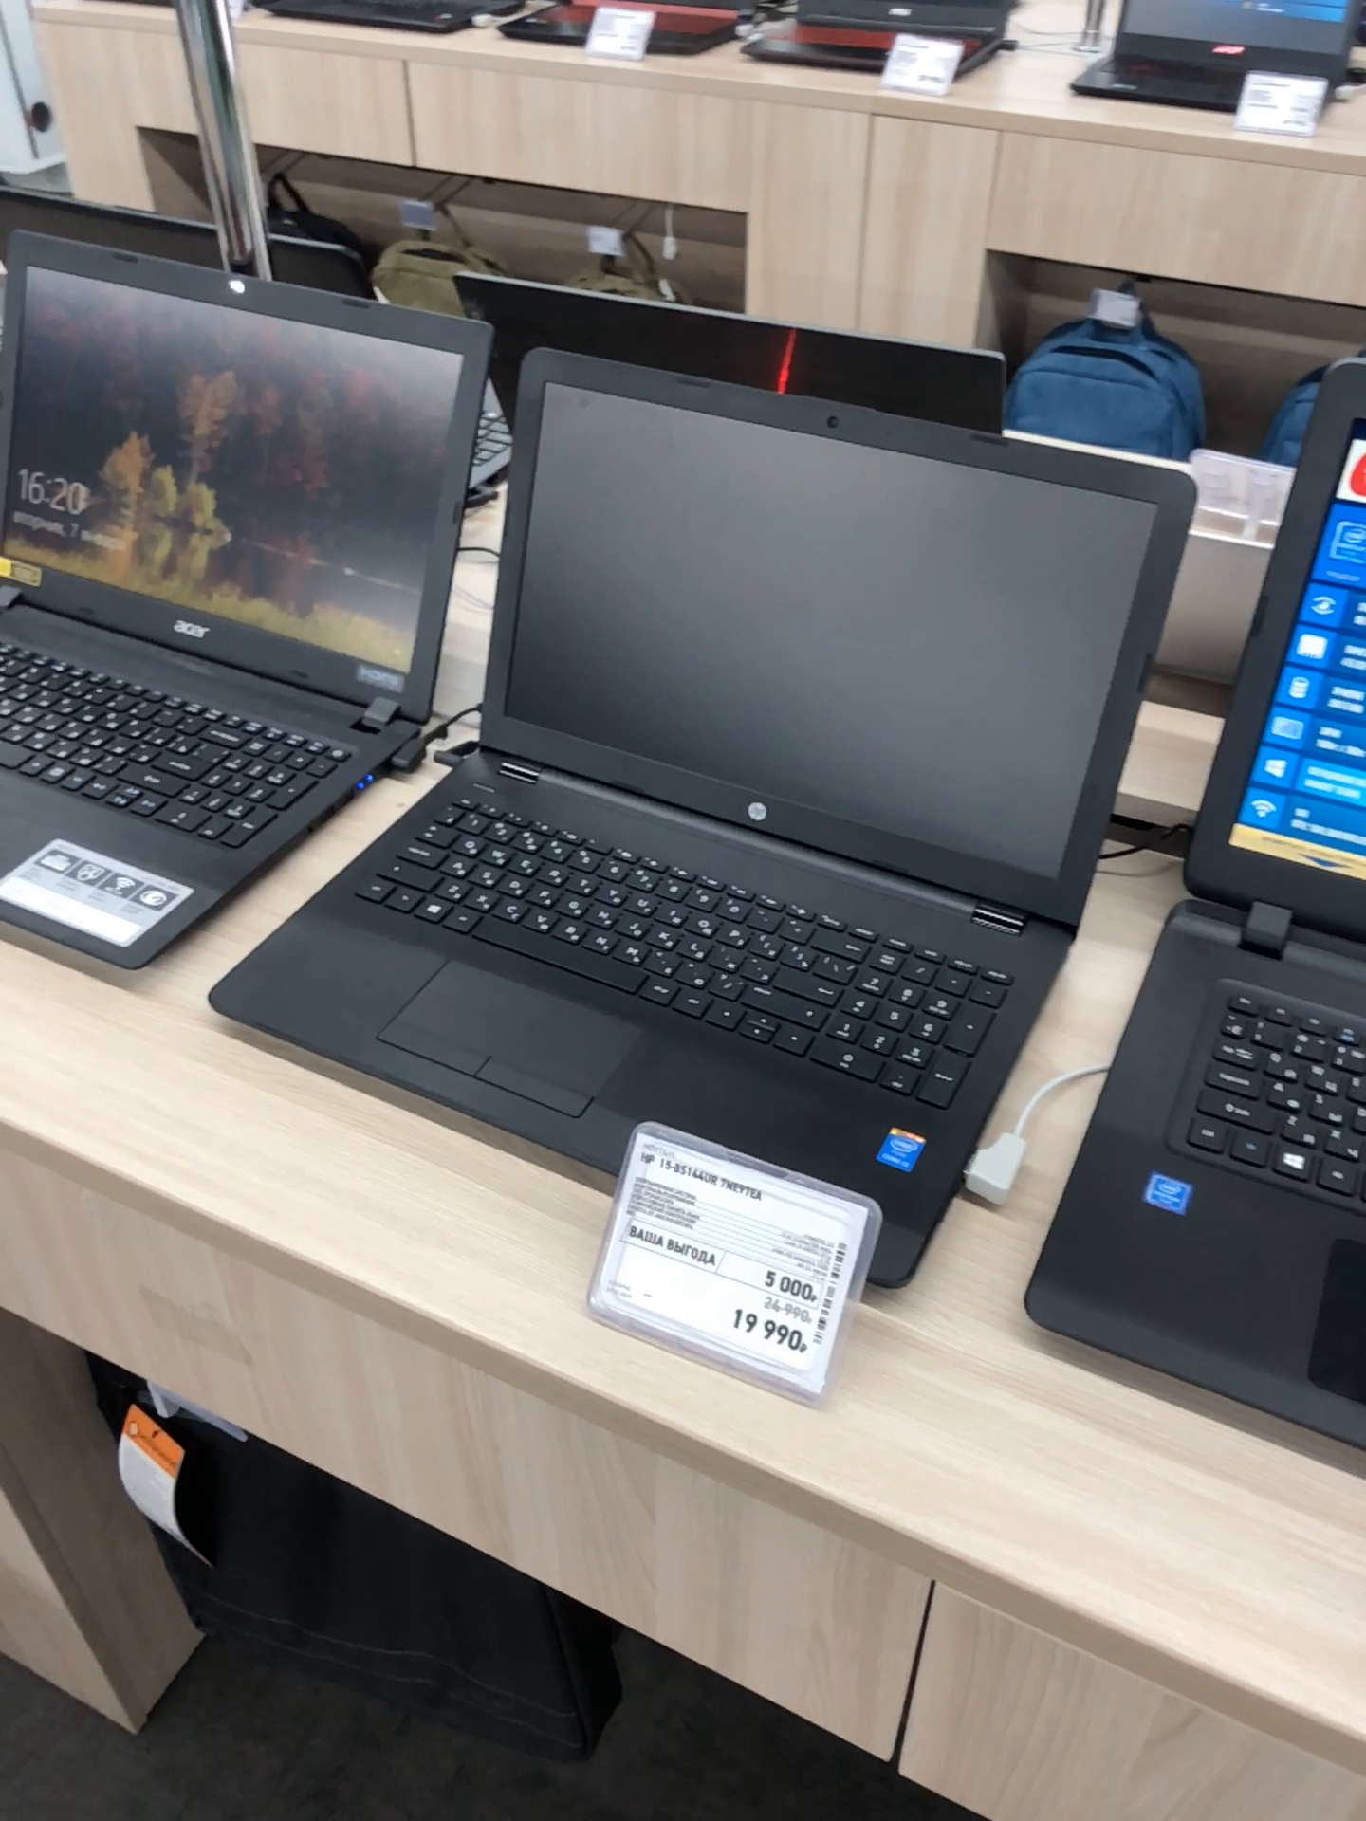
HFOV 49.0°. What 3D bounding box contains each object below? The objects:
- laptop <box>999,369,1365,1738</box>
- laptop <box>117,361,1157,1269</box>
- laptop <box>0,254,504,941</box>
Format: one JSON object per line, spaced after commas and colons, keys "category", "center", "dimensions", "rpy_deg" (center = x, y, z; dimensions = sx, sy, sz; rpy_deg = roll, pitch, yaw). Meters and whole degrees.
{"category": "laptop", "center": [0.406, 0.002, 0.604], "dimensions": [0.396, 0.267, 0.396], "rpy_deg": [18, 42, 22]}
{"category": "laptop", "center": [-0.005, -0.083, 0.760], "dimensions": [0.377, 0.215, 0.335], "rpy_deg": [17, 44, 21]}
{"category": "laptop", "center": [-0.378, -0.214, 0.914], "dimensions": [0.359, 0.226, 0.351], "rpy_deg": [18, 42, 20]}
